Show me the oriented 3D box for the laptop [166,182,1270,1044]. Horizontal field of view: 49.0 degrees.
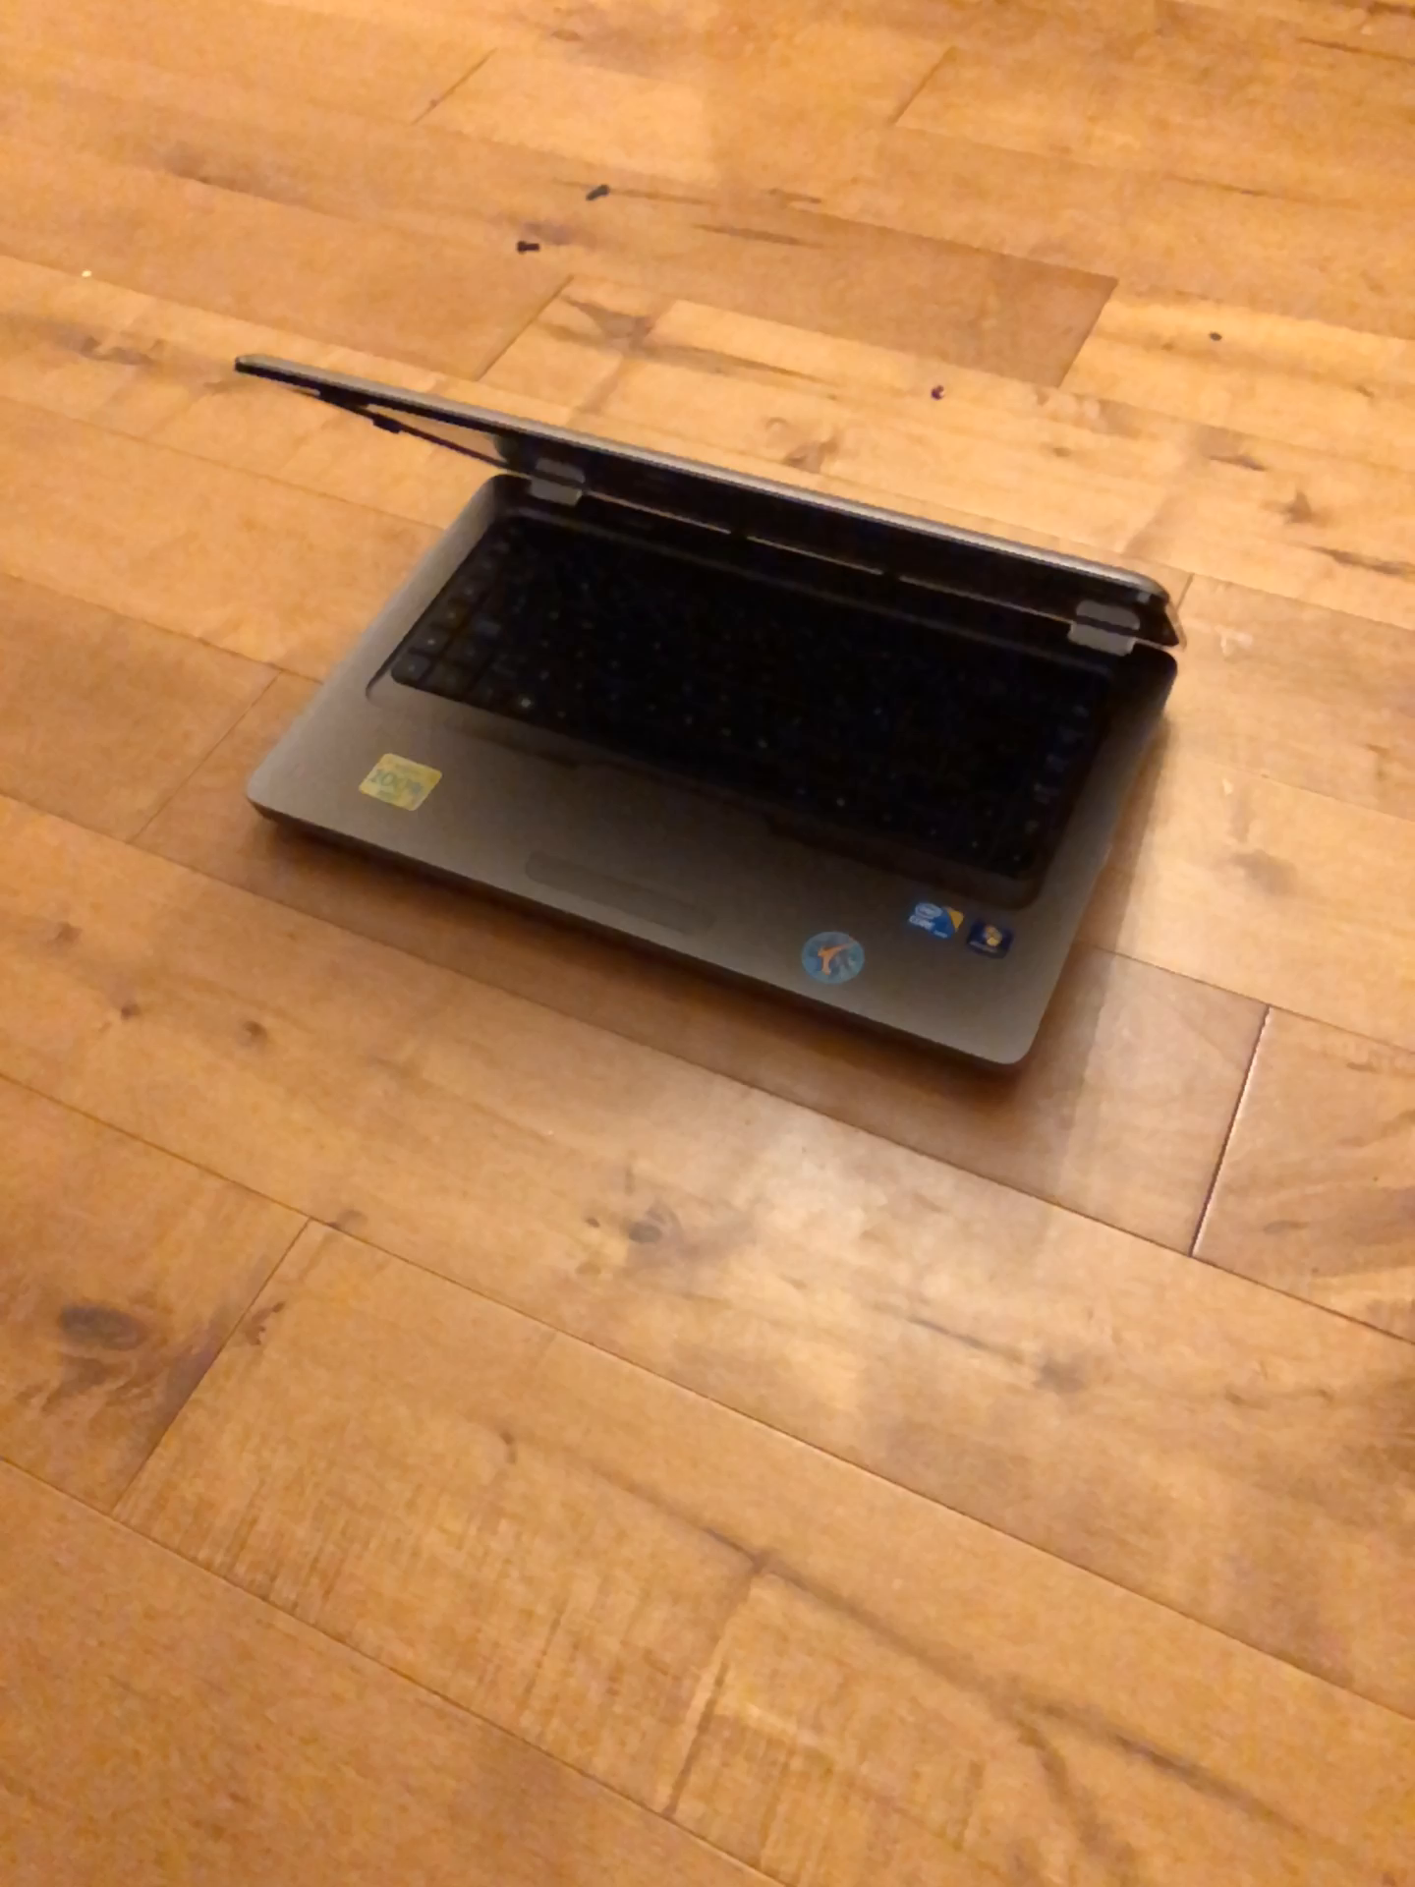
[{"bbox_3d":[0.010,-0.147,0.645,0.347,0.164,0.223,19,58,15],"label":"laptop"}]
